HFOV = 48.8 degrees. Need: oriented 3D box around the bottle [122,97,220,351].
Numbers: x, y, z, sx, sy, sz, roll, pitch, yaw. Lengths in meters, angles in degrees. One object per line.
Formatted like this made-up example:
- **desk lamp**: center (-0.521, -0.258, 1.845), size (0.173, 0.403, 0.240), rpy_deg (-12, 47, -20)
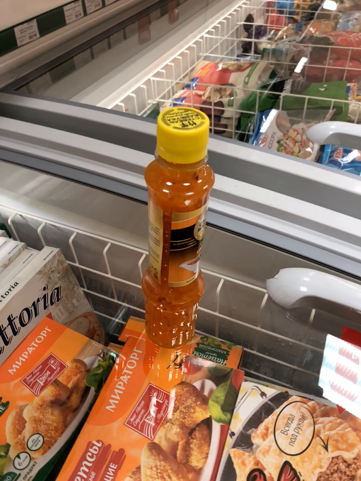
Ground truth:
- **bottle**: center (-0.008, 0.005, 0.287), size (0.049, 0.201, 0.051), rpy_deg (2, 45, -2)
